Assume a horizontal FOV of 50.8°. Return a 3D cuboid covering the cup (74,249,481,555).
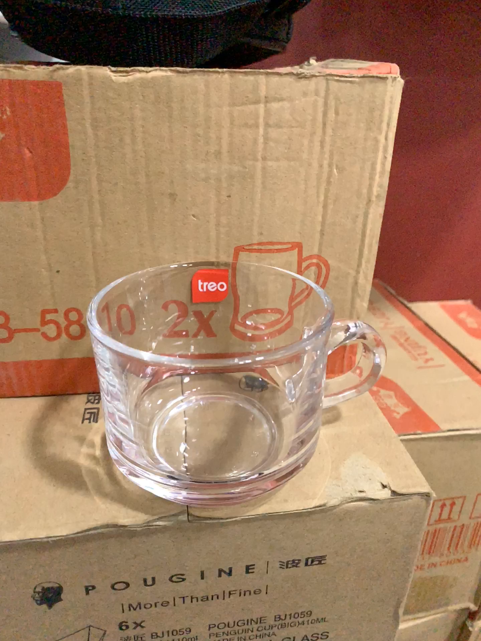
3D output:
[{"bbox_3d":[0.006,0.019,0.169,0.104,0.061,0.072,-3,27,-10],"label":"cup"}]
